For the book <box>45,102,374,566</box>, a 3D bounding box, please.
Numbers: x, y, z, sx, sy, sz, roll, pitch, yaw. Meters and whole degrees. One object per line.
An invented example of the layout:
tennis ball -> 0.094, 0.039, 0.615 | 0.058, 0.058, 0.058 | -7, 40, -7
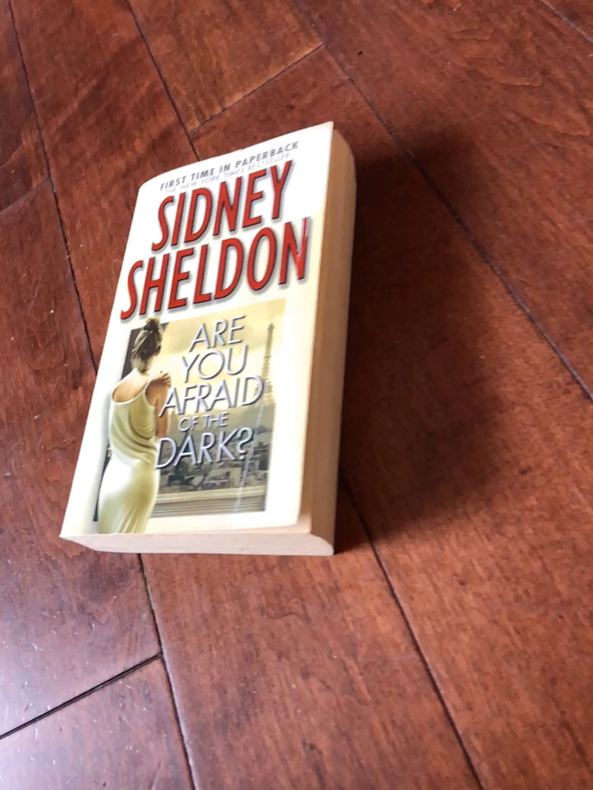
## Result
book -> -0.029, -0.024, 0.274 | 0.108, 0.040, 0.180 | -7, 63, 26
